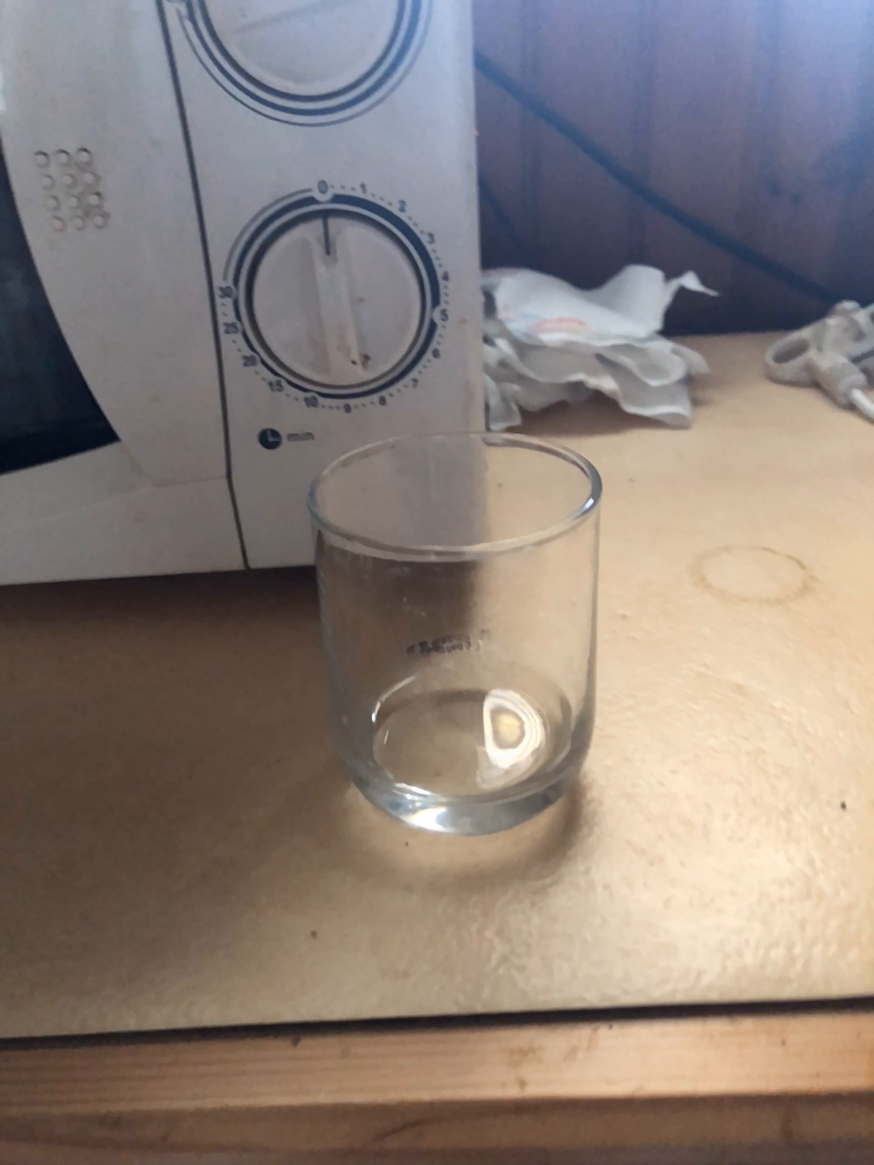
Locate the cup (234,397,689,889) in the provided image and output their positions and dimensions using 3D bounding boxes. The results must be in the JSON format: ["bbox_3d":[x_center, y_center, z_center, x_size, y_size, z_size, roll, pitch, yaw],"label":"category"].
[{"bbox_3d":[0.004,0.008,0.223,0.070,0.070,0.070,-2,30,1],"label":"cup"}]
